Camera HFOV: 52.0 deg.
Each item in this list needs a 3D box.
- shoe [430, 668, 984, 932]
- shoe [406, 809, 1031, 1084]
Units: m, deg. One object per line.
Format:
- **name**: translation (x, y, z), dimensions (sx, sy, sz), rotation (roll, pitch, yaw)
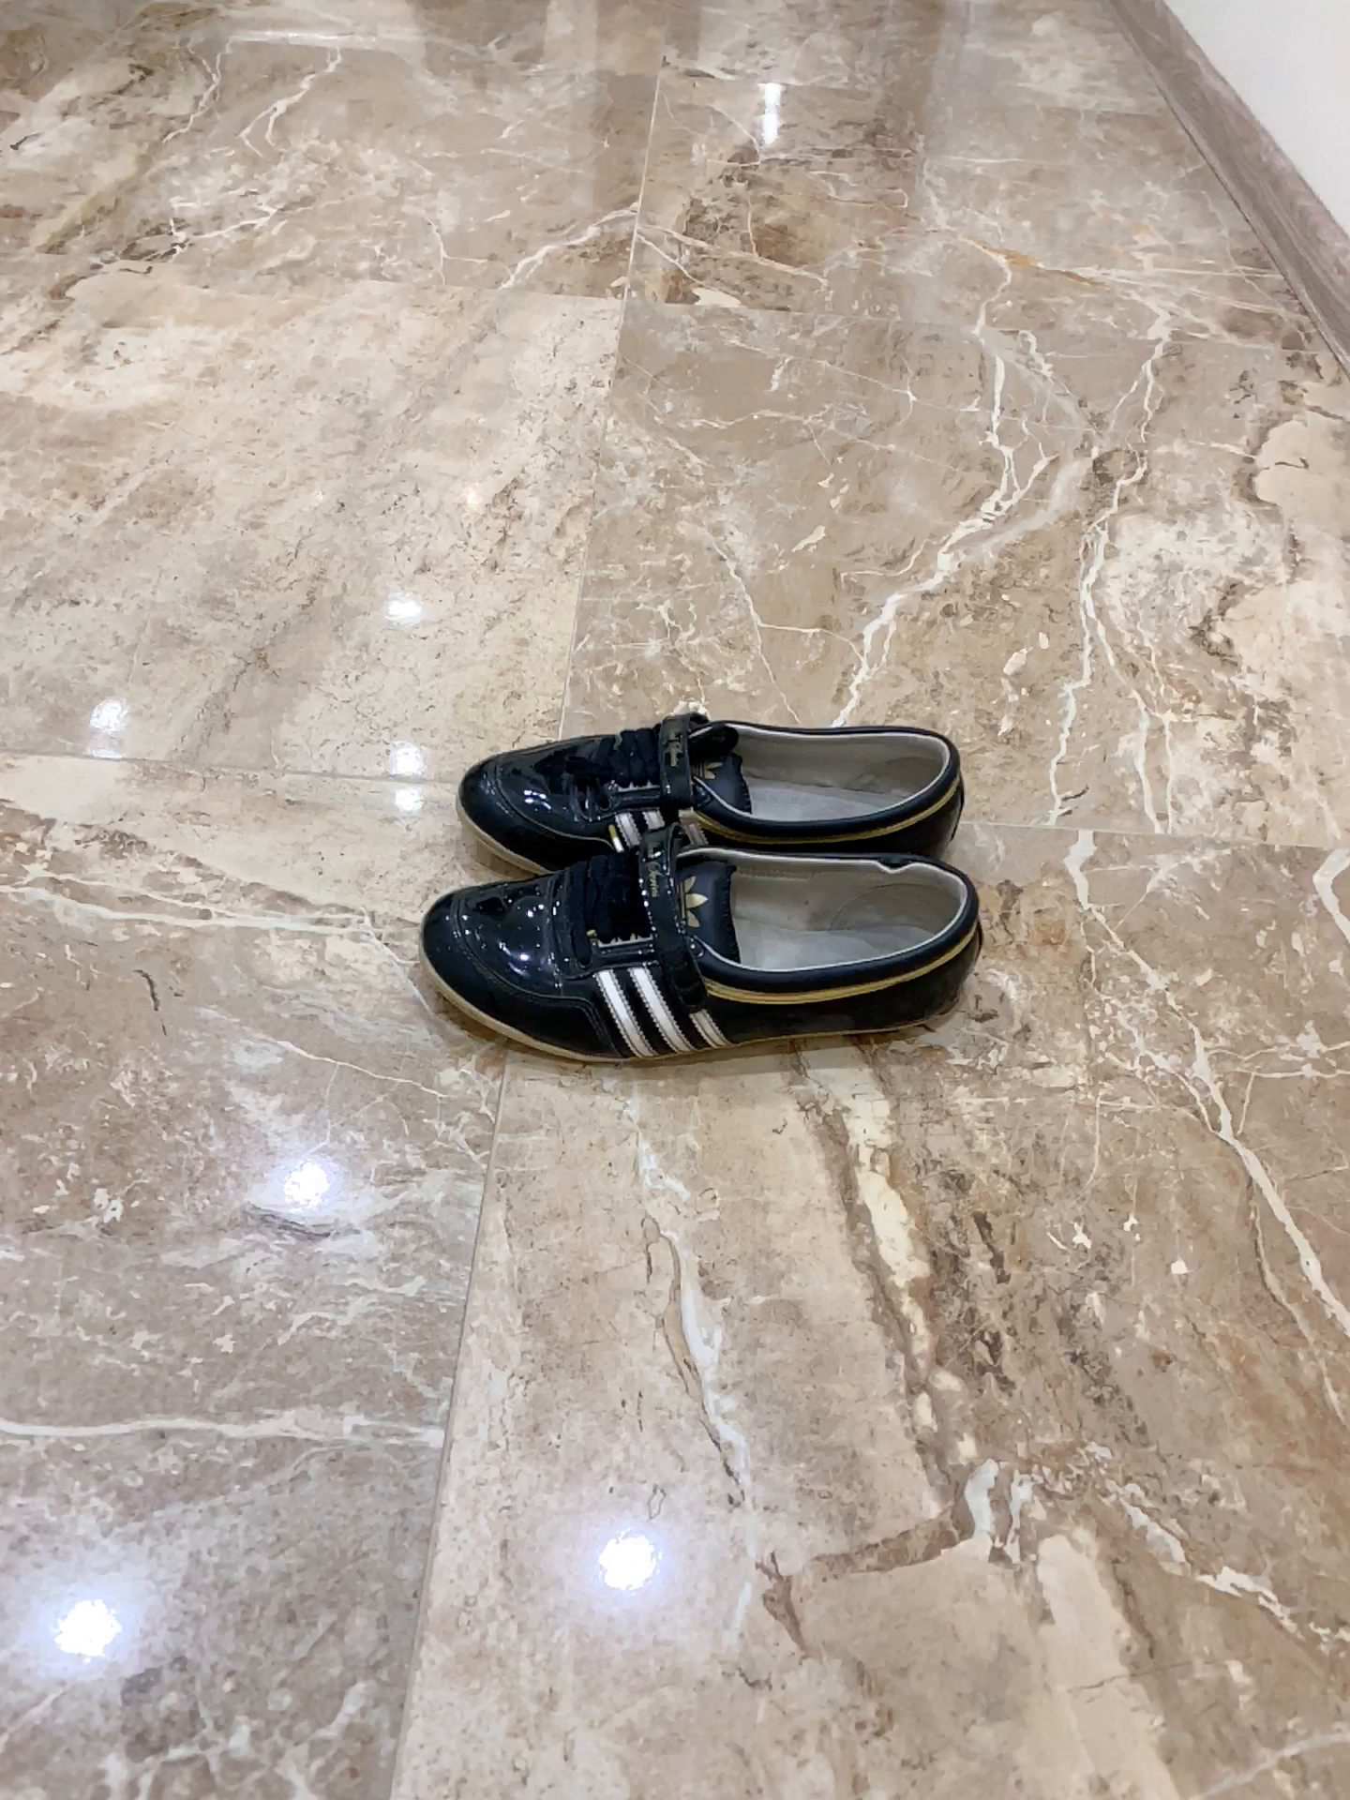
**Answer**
- **shoe**: translation (0.014, -0.048, 0.651), dimensions (0.240, 0.060, 0.096), rotation (4, 46, -1)
- **shoe**: translation (0.016, 0.019, 0.584), dimensions (0.240, 0.060, 0.096), rotation (1, 46, -3)
